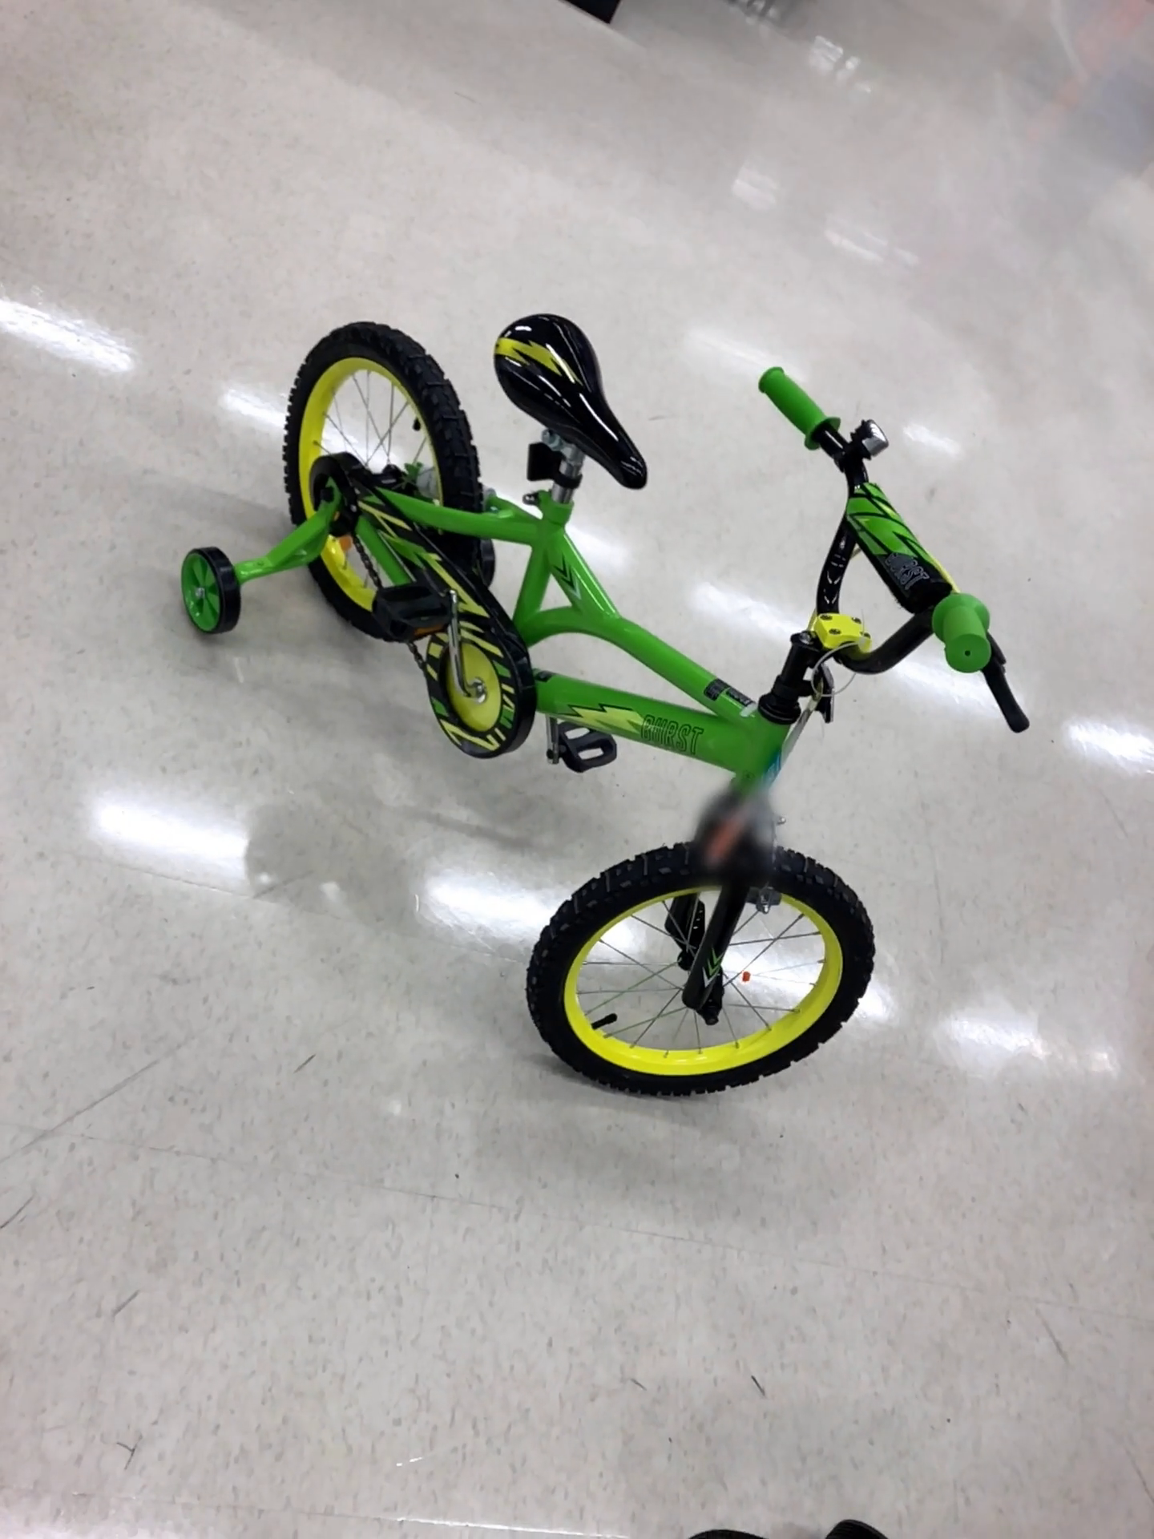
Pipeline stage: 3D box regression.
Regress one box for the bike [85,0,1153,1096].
[{"bbox_3d":[0.111,-0.287,1.382,1.044,0.807,0.554,47,47,14],"label":"bike"}]
